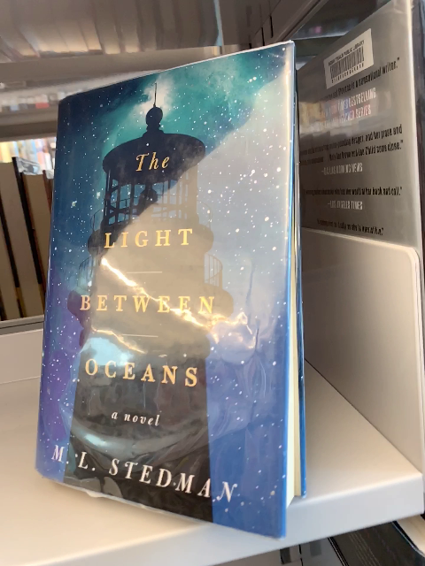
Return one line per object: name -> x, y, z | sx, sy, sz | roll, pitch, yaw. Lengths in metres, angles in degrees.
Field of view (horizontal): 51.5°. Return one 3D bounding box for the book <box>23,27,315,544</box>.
book -> -0.026, -0.003, 0.245 | 0.155, 0.225, 0.042 | -1, -6, 27
